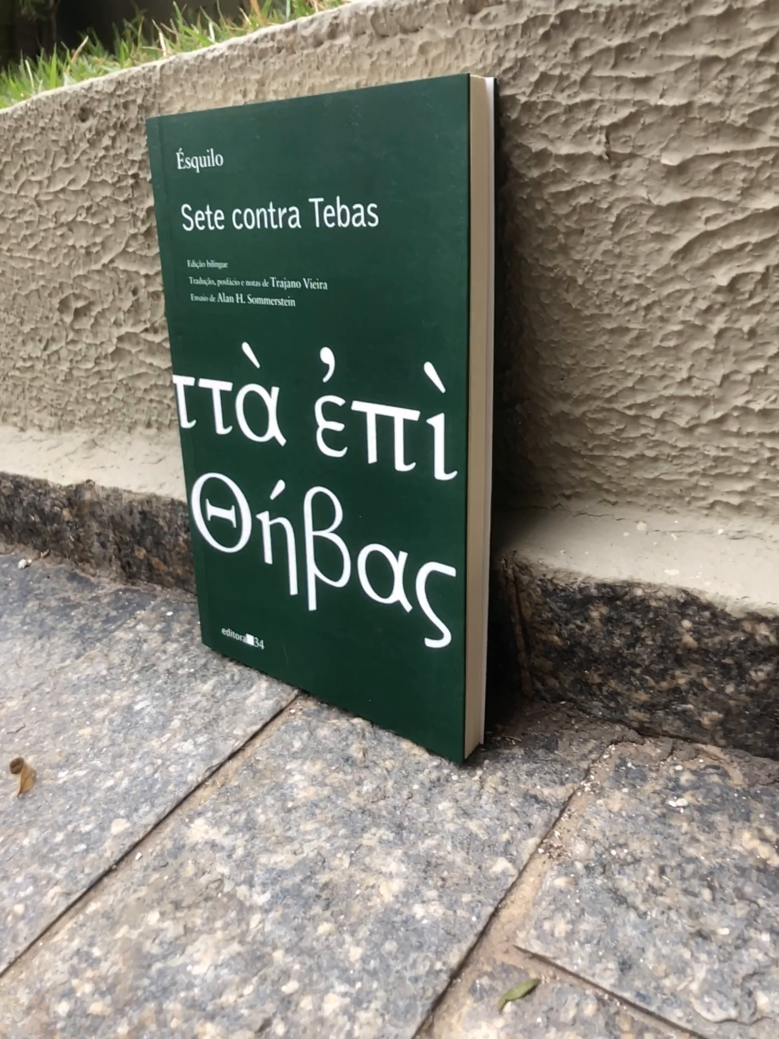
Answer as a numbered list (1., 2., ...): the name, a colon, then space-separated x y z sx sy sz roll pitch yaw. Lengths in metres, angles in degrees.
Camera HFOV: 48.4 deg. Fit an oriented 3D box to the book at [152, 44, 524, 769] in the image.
1. book: -0.022 -0.034 0.286 0.140 0.196 0.020 13 21 41
